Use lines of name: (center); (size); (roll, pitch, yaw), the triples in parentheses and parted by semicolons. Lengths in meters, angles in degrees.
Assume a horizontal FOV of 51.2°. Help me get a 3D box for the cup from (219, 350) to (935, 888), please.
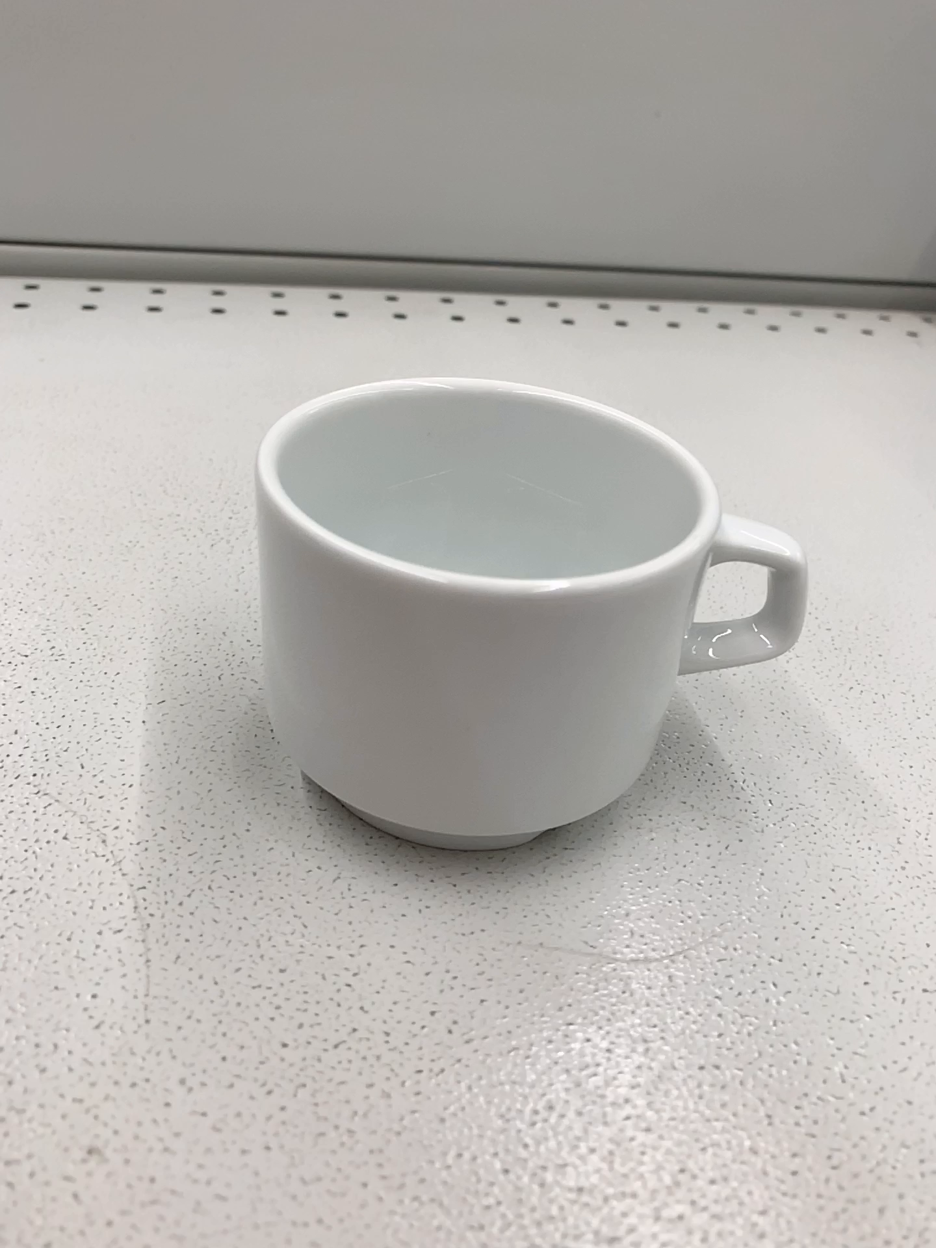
cup: (0.012, -0.006, 0.178); (0.105, 0.056, 0.082); (-1, 35, -10)
